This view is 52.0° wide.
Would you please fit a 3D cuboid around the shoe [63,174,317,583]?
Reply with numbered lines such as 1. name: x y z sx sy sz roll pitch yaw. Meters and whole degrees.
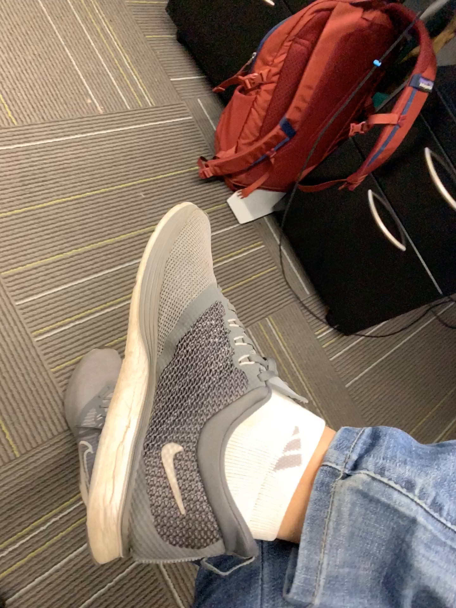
1. shoe: -0.006 0.046 0.378 0.142 0.116 0.295 2 61 6

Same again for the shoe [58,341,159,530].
1. shoe: -0.213 0.220 0.821 0.117 0.074 0.293 -3 72 -31
